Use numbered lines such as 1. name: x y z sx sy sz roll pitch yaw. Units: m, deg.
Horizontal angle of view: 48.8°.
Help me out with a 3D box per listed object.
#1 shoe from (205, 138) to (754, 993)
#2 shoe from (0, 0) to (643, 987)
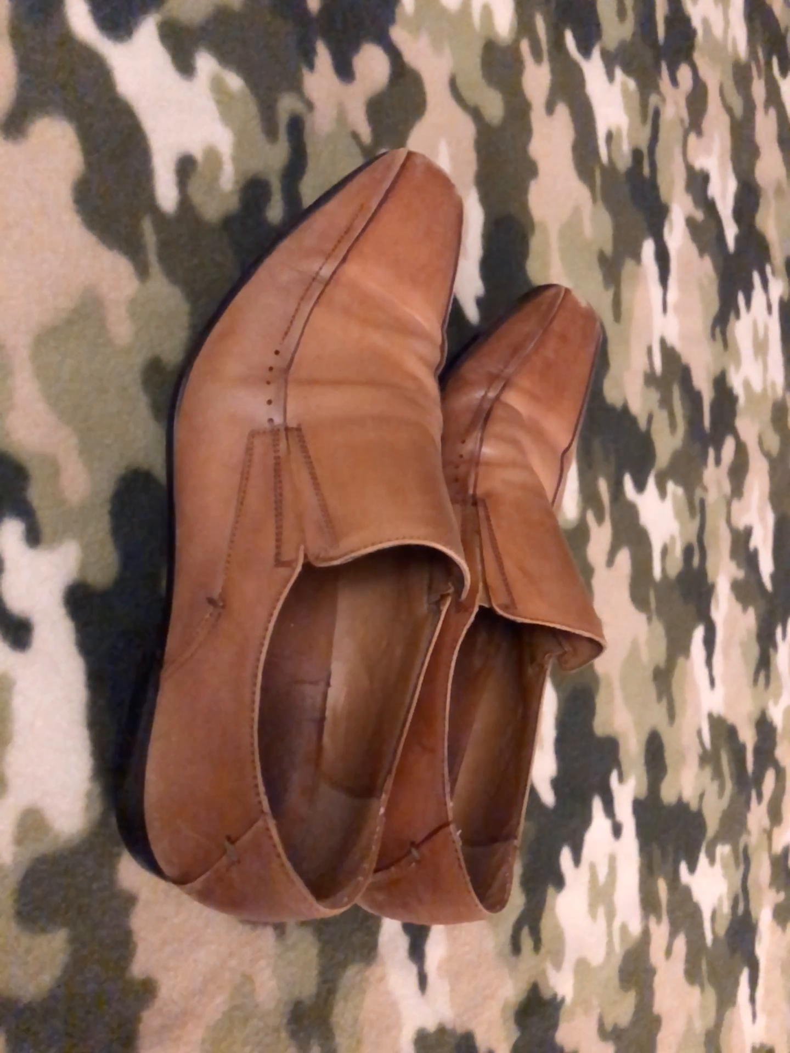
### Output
1. shoe: 0.052 0.008 0.386 0.110 0.119 0.321 35 65 -38
2. shoe: -0.017 -0.028 0.313 0.110 0.119 0.320 28 69 -41
